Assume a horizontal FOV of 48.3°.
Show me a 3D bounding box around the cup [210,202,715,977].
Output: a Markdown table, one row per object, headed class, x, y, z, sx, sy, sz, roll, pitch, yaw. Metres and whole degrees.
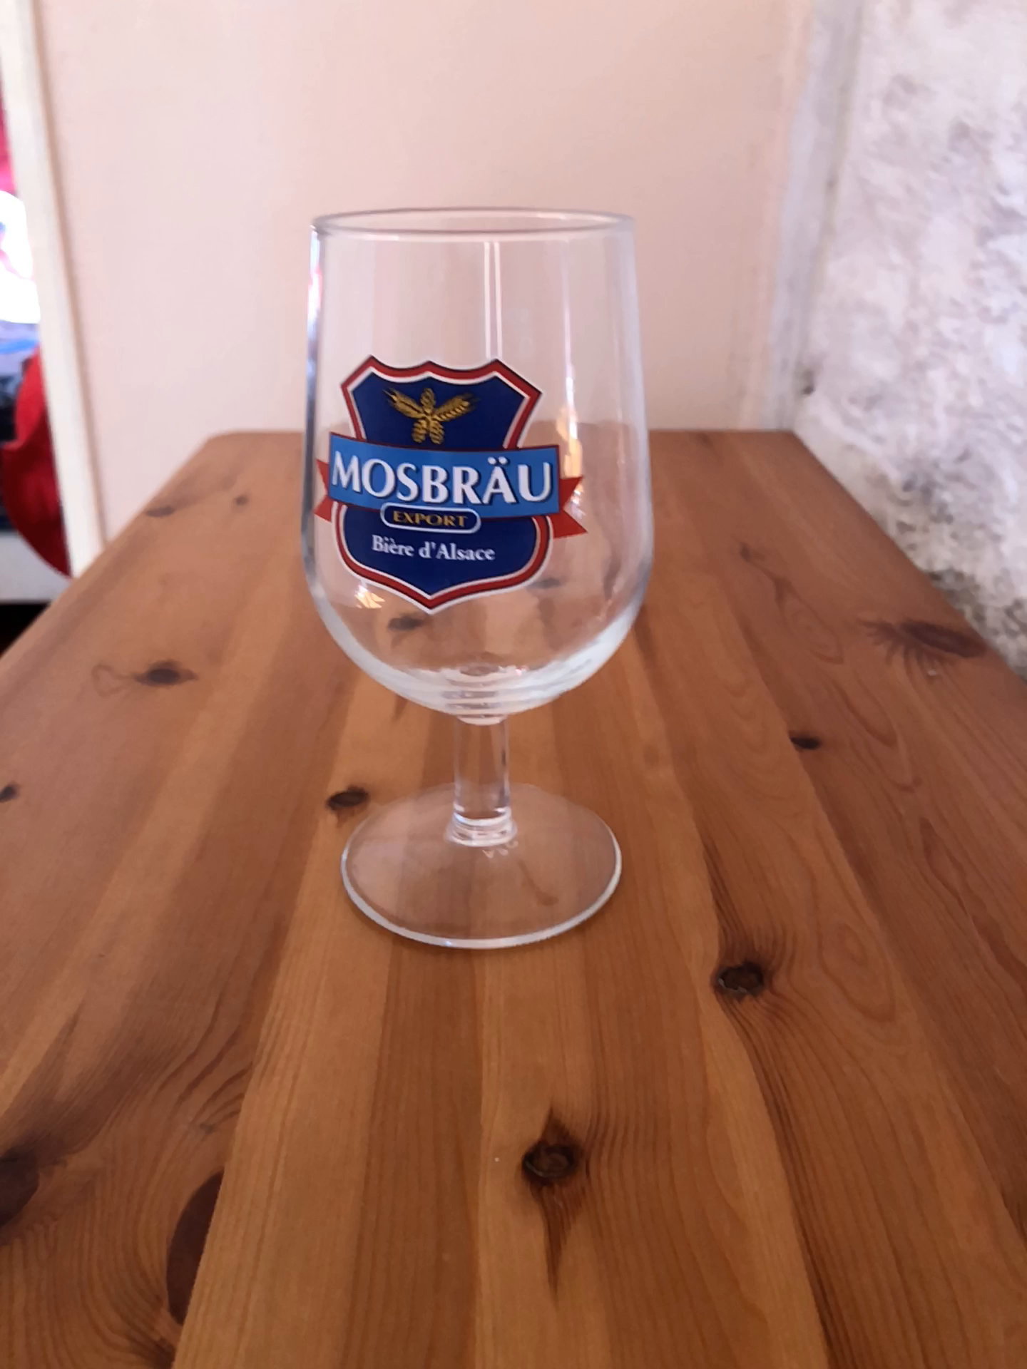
| class | x | y | z | sx | sy | sz | roll | pitch | yaw |
| --- | --- | --- | --- | --- | --- | --- | --- | --- | --- |
| cup | -0.006 | -0.025 | 0.248 | 0.079 | 0.142 | 0.077 | 2 | 25 | -1 |
